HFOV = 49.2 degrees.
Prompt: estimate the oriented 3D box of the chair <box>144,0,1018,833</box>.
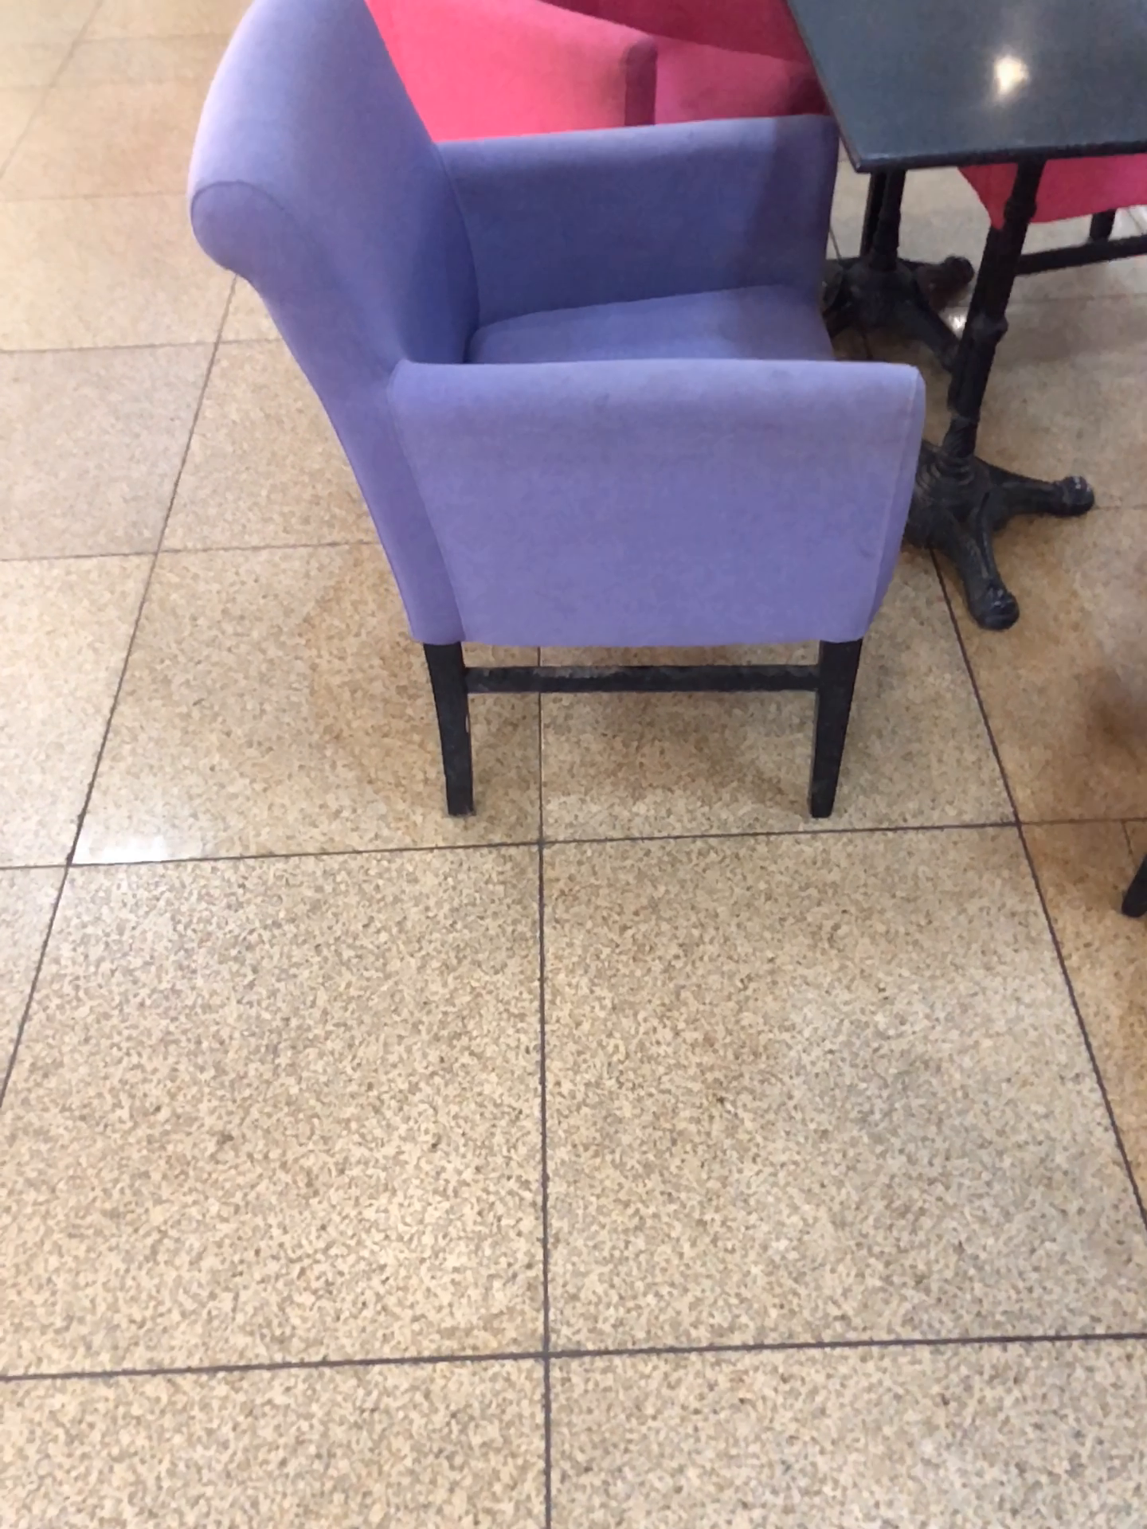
[{"bbox_3d":[0.021,-0.398,1.442,0.660,0.817,0.572,-1,50,2],"label":"chair"}]
